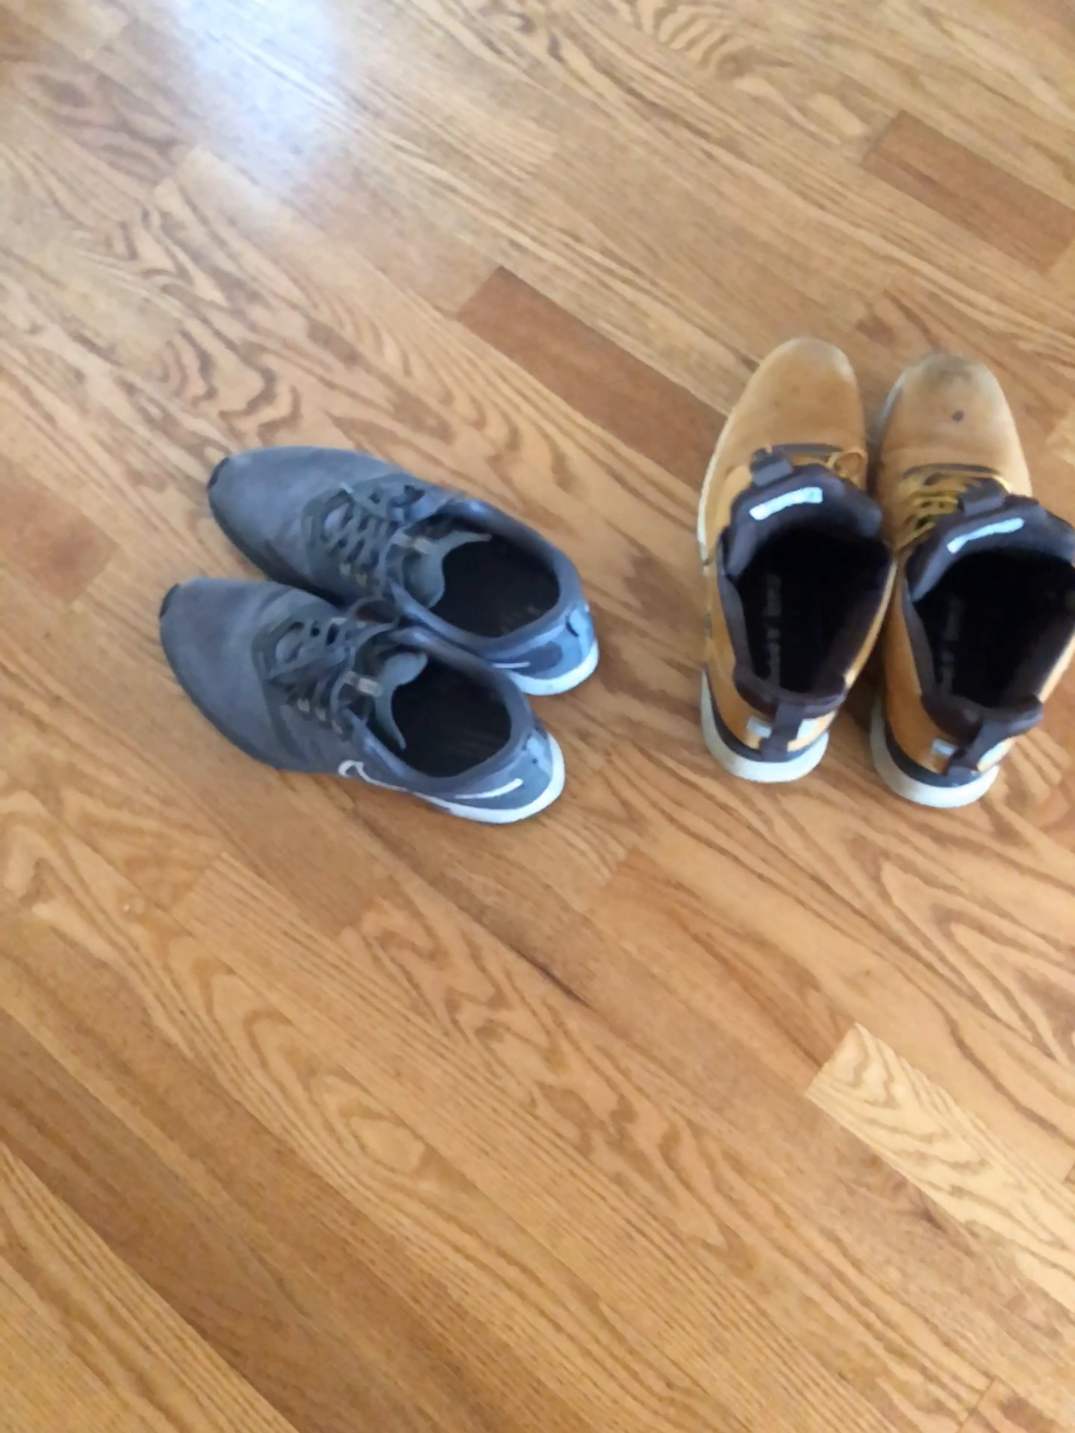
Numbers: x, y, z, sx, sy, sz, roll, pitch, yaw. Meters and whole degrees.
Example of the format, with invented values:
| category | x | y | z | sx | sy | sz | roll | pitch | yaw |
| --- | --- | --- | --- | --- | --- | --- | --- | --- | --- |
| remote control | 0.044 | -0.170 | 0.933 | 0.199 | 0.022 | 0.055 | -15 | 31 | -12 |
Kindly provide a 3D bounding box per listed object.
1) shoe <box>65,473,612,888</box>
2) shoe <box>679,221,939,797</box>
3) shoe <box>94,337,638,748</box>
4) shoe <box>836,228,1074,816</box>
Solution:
| category | x | y | z | sx | sy | sz | roll | pitch | yaw |
| --- | --- | --- | --- | --- | --- | --- | --- | --- | --- |
| shoe | -0.125 | -0.022 | 0.796 | 0.320 | 0.100 | 0.140 | 24 | 79 | 9 |
| shoe | 0.165 | -0.124 | 0.741 | 0.130 | 0.140 | 0.320 | 3 | 76 | 4 |
| shoe | -0.111 | -0.119 | 0.820 | 0.330 | 0.100 | 0.140 | 24 | 79 | 9 |
| shoe | 0.264 | -0.113 | 0.727 | 0.130 | 0.140 | 0.320 | 3 | 76 | 4 |
